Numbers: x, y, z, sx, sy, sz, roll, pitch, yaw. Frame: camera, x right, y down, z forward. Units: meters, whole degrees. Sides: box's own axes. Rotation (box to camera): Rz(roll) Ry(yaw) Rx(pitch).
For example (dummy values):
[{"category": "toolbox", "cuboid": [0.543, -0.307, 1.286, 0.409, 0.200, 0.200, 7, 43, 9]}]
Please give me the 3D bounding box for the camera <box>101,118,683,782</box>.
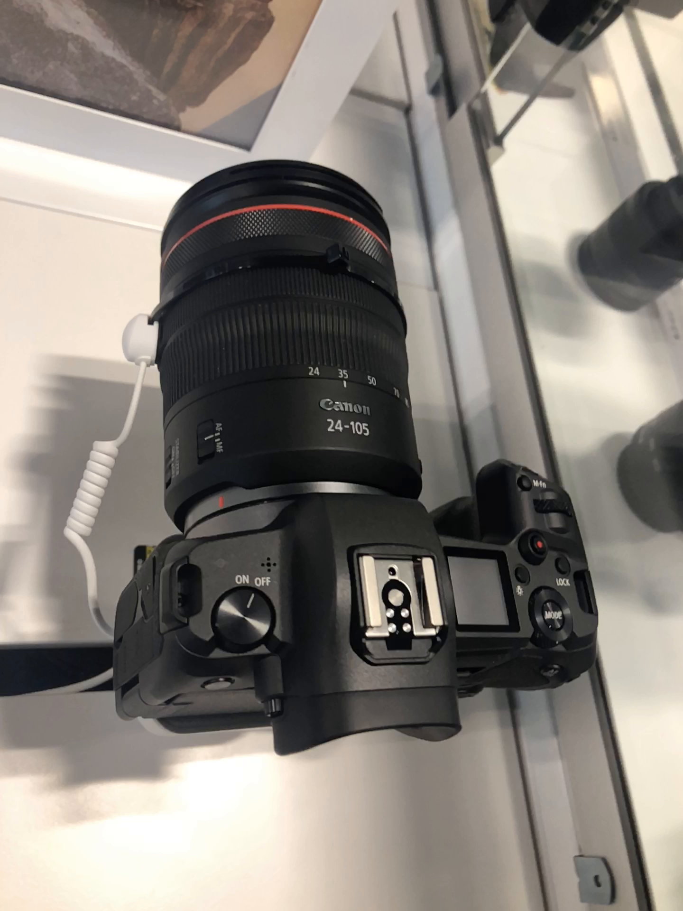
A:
[{"category": "camera", "cuboid": [0.009, 0.006, 0.222, 0.139, 0.086, 0.145, 4, 65, -26]}]
